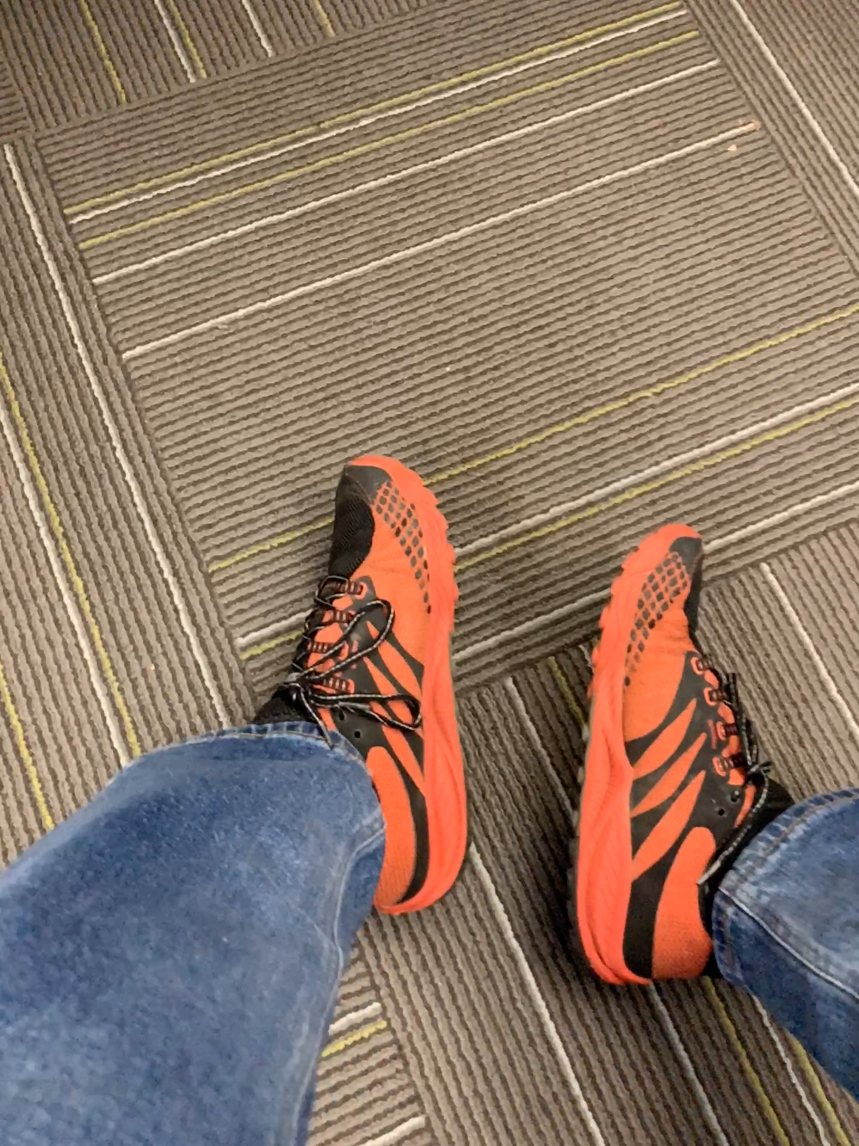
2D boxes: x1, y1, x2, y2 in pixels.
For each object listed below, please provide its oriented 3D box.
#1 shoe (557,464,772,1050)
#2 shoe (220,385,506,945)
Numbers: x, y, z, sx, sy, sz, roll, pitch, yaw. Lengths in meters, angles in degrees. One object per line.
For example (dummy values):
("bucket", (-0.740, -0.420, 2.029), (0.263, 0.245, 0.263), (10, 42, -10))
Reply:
("shoe", (0.152, 0.106, 0.562), (0.108, 0.138, 0.318), (1, 75, 16))
("shoe", (-0.050, 0.059, 0.557), (0.108, 0.128, 0.308), (10, 70, -43))
